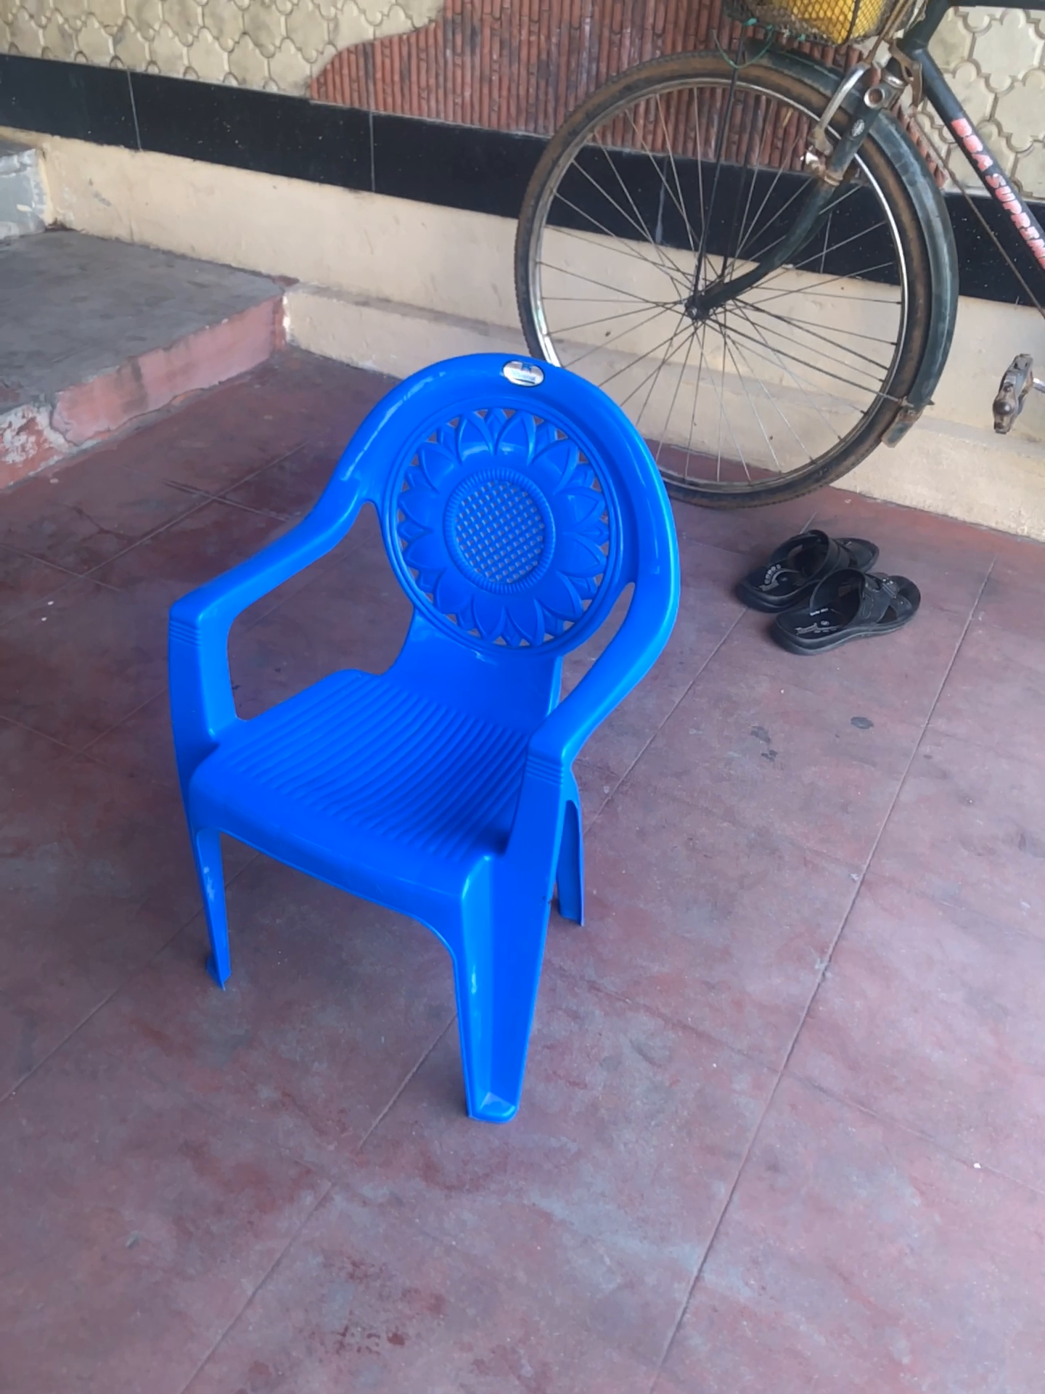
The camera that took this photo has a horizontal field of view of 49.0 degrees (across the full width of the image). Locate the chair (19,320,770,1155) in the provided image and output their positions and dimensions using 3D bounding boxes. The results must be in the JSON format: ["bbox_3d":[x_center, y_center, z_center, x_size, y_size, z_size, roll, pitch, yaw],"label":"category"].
[{"bbox_3d":[-0.080,0.005,1.048,0.400,0.497,0.452,20,40,23],"label":"chair"}]
